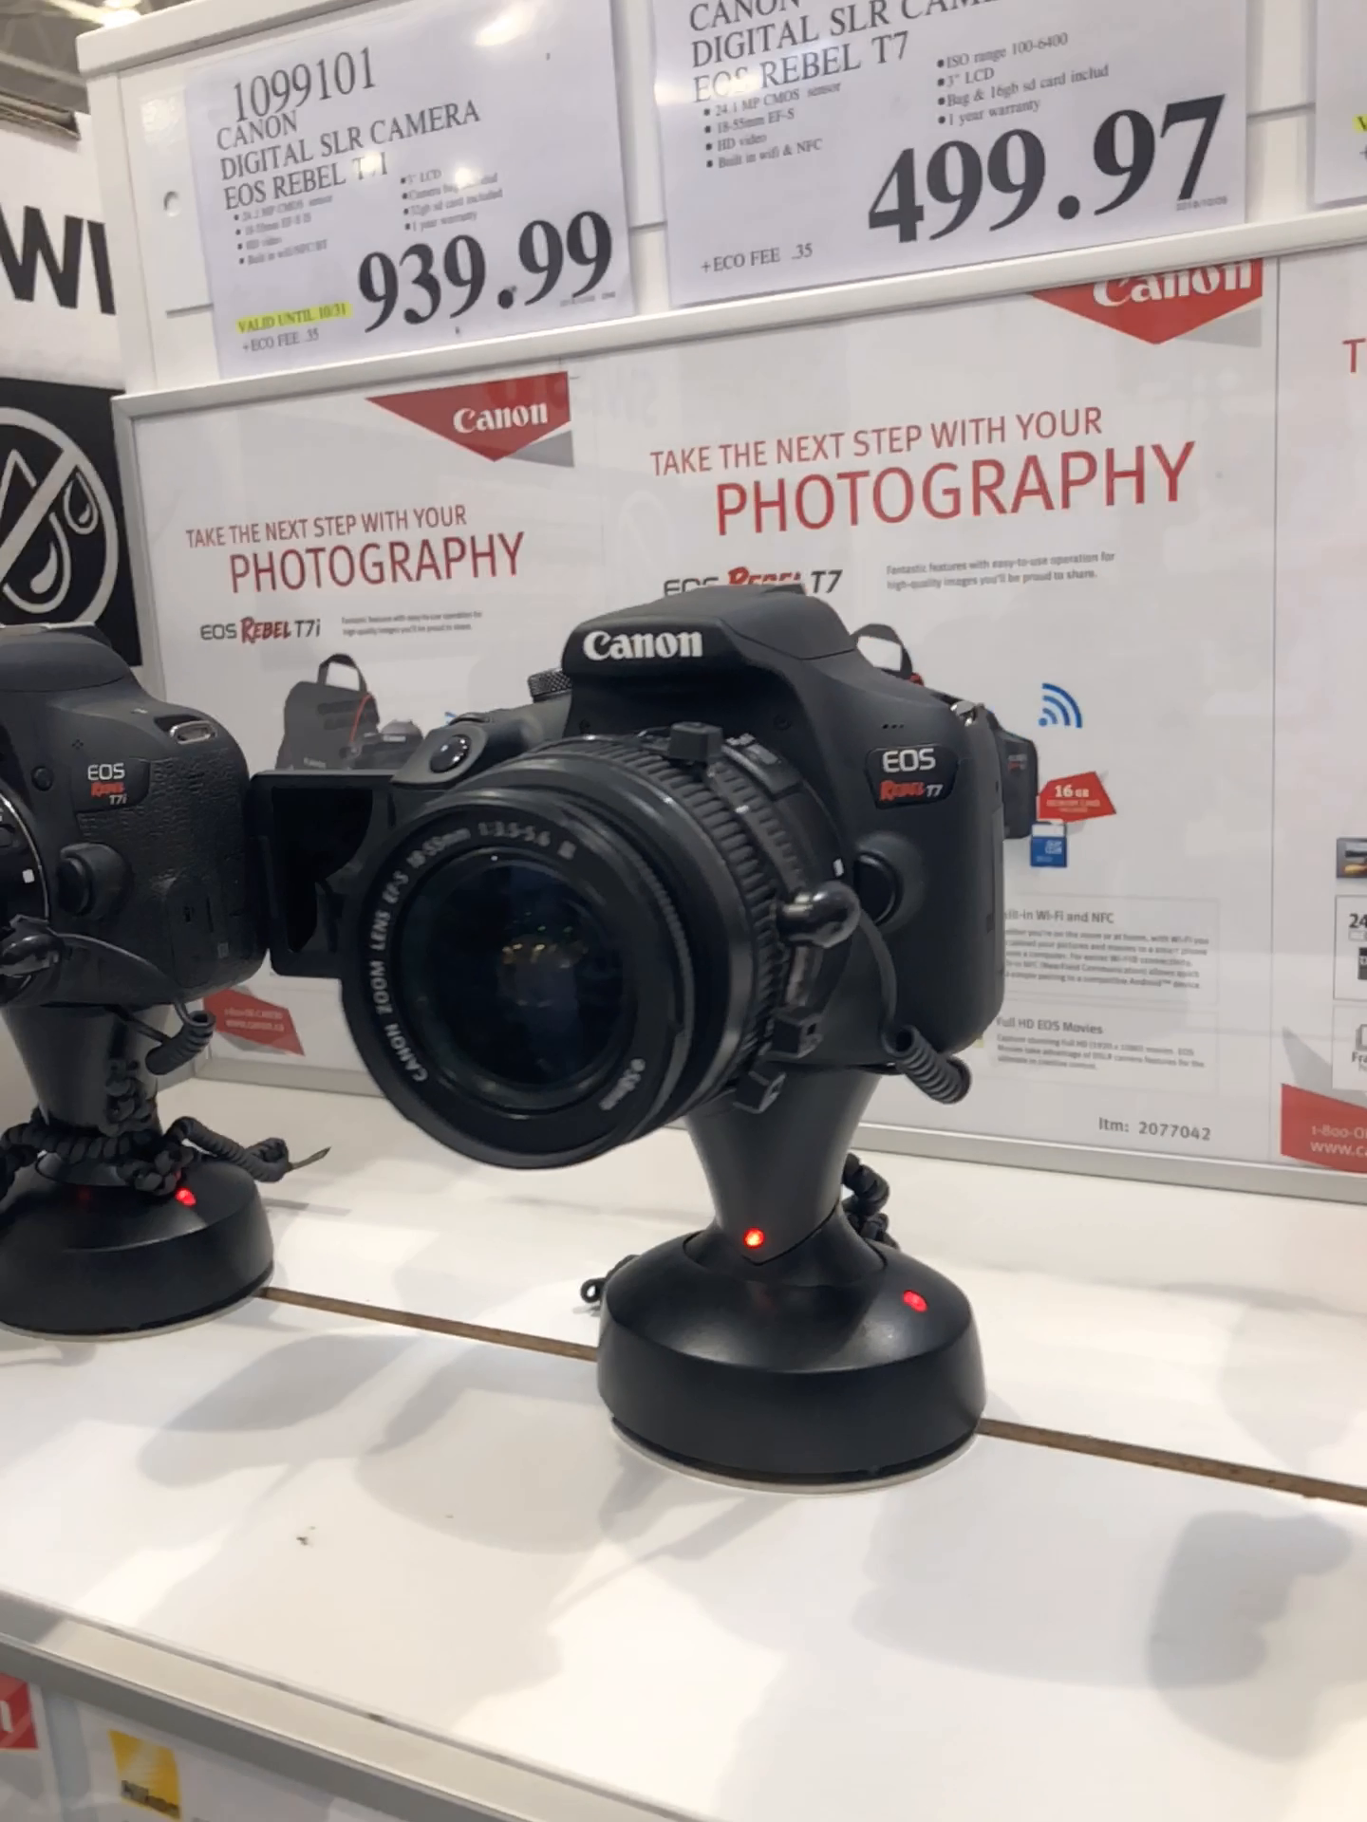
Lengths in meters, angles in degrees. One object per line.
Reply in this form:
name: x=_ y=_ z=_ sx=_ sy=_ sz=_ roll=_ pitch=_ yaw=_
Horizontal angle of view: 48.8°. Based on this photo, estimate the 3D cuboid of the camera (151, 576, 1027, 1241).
camera: x=-0.009 y=-0.012 z=0.305 sx=0.130 sy=0.100 sz=0.120 roll=2 pitch=13 yaw=24
